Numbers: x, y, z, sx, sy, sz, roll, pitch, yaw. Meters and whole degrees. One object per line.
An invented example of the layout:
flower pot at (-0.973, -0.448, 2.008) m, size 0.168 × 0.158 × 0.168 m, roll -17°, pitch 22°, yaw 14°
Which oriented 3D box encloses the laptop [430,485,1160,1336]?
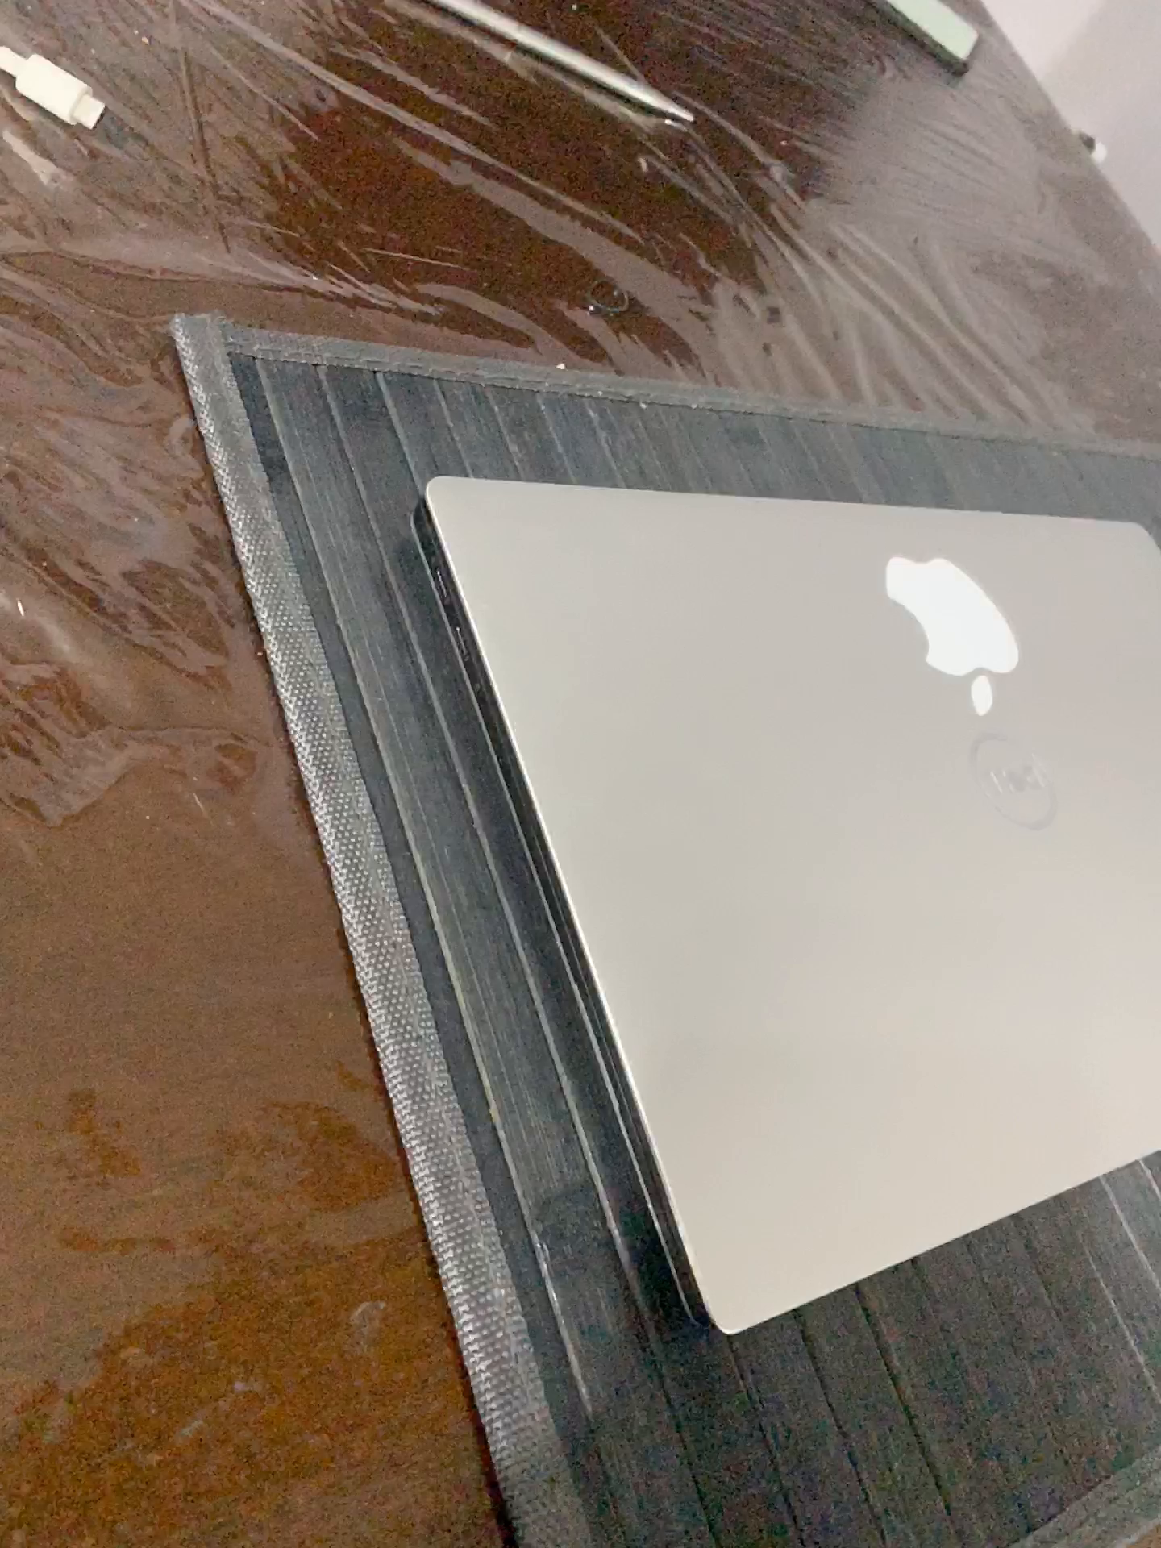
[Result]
laptop at (0.110, 0.004, 0.314) m, size 0.272 × 0.001 × 0.188 m, roll -5°, pitch 62°, yaw -33°
